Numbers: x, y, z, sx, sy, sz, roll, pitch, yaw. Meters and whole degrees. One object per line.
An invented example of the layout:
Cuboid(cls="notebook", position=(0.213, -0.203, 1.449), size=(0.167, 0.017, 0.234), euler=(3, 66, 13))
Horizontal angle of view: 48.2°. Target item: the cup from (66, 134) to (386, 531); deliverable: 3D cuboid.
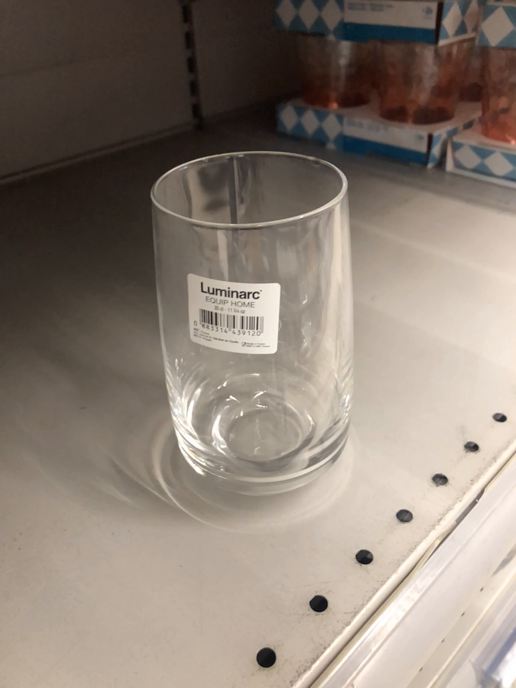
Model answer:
Cuboid(cls="cup", position=(-0.003, -0.007, 0.214), size=(0.076, 0.112, 0.077), euler=(-2, 36, 1))
